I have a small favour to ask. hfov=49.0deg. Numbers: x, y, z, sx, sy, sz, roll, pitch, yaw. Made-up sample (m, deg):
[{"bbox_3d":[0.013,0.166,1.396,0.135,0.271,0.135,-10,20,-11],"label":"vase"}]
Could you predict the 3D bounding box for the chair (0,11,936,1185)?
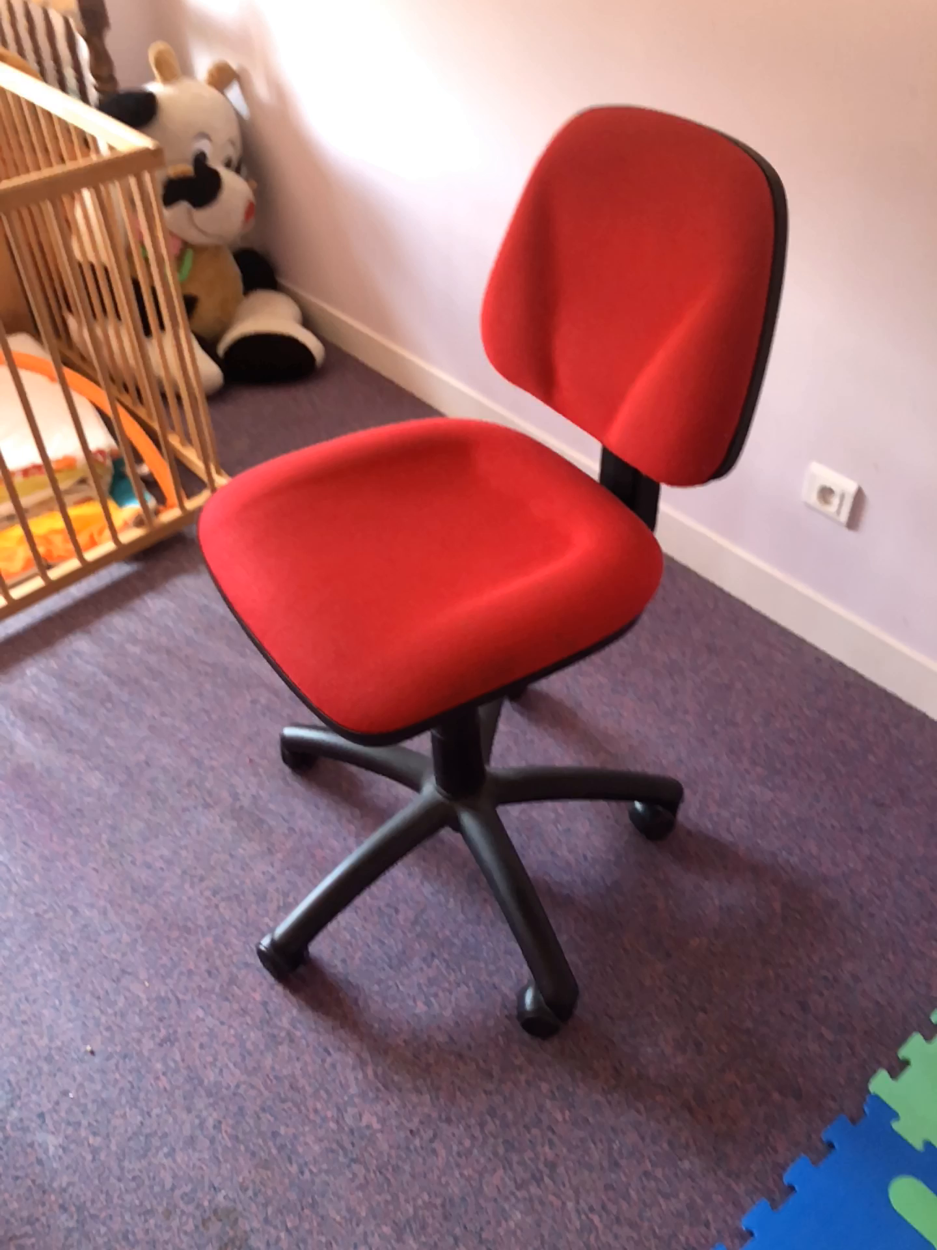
[{"bbox_3d":[-0.019,-0.052,1.116,0.672,0.895,0.642,-24,46,-23],"label":"chair"}]
